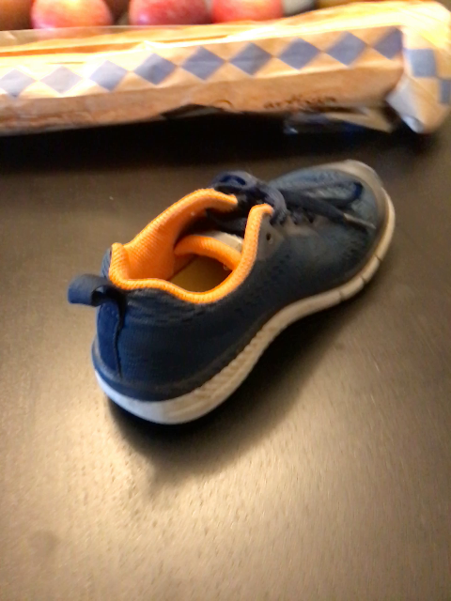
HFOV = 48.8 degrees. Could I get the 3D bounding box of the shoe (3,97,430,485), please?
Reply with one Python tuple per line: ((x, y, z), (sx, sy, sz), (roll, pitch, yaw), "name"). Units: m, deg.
((0.008, -0.019, 0.248), (0.084, 0.072, 0.187), (34, 59, 28), "shoe")
